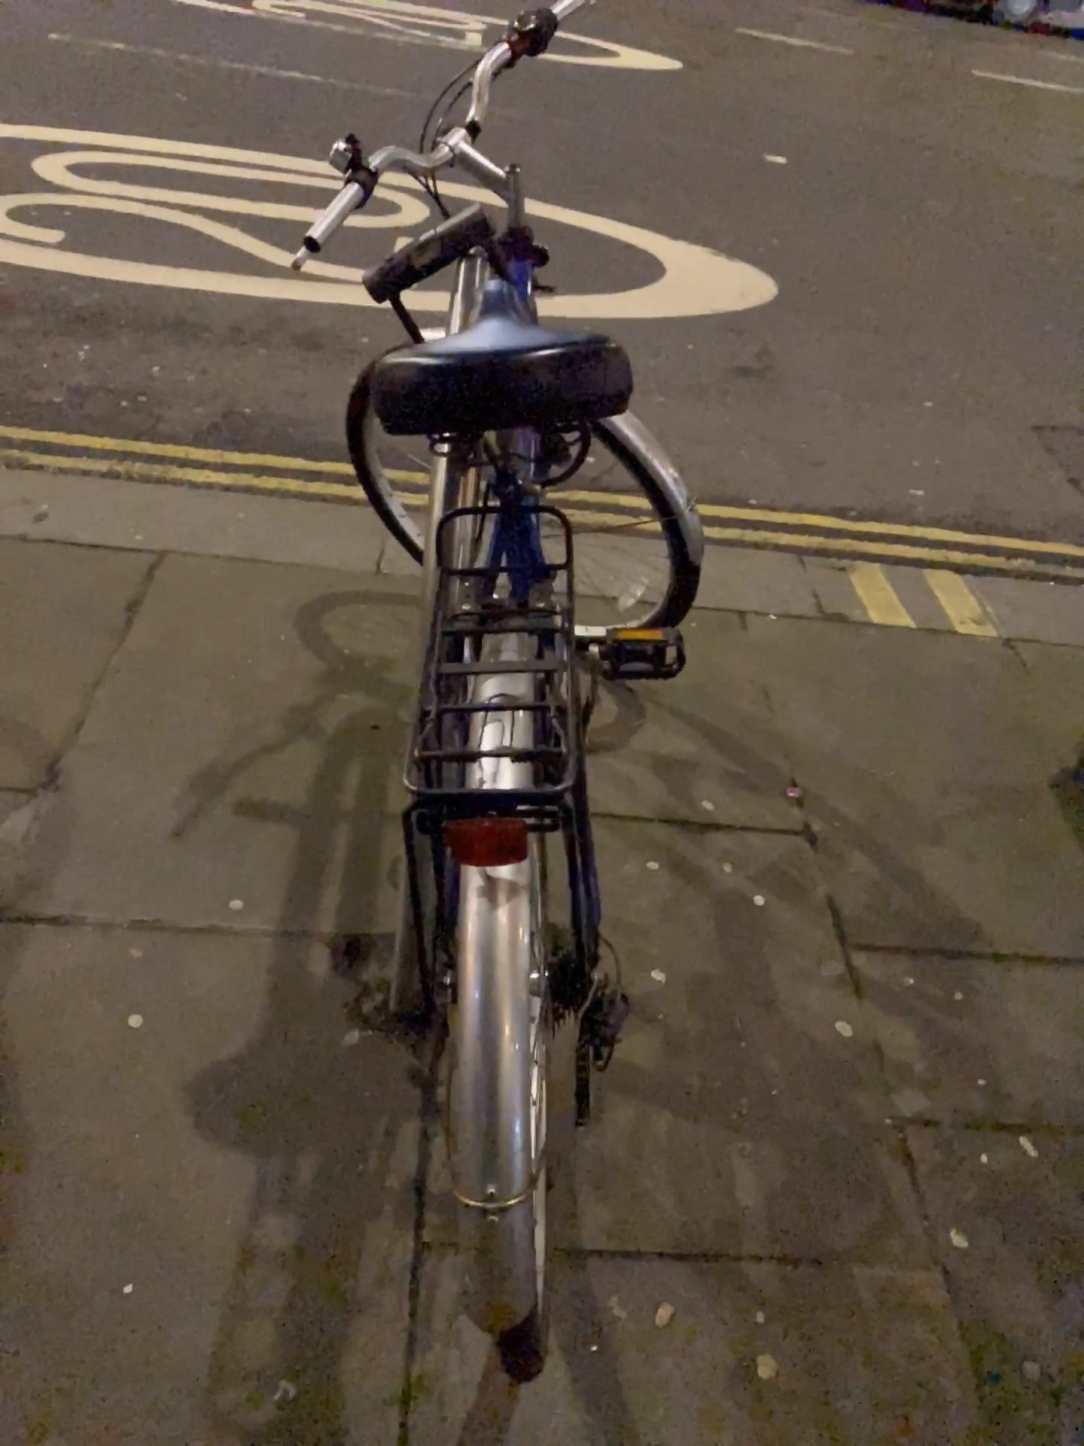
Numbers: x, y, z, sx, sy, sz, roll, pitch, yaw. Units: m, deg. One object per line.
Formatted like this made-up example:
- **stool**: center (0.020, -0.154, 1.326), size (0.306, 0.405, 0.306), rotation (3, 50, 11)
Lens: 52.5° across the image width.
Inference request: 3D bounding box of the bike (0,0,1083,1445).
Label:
- **bike**: center (-0.175, -0.214, 1.299), size (0.656, 1.108, 1.603), rotation (-1, 42, -12)
